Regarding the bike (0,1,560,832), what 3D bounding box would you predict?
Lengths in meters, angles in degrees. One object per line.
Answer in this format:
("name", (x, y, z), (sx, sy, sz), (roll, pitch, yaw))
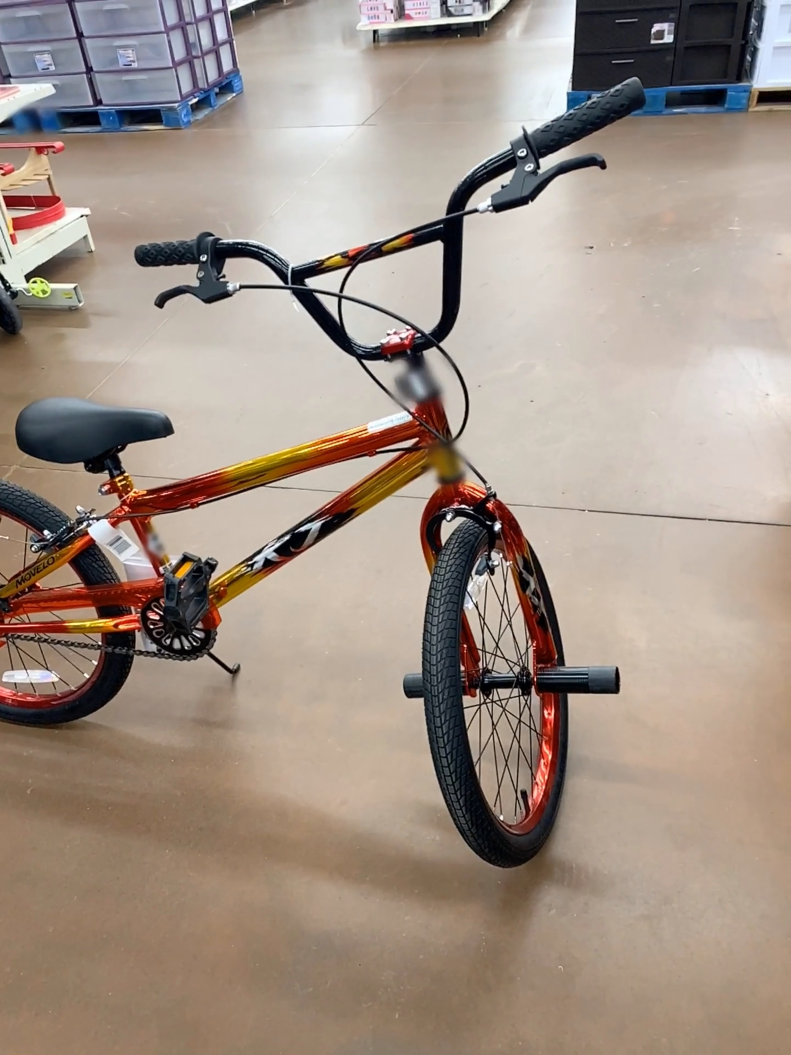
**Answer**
("bike", (-0.342, -0.151, 1.239), (1.122, 0.925, 0.707), (-3, 38, 5))
